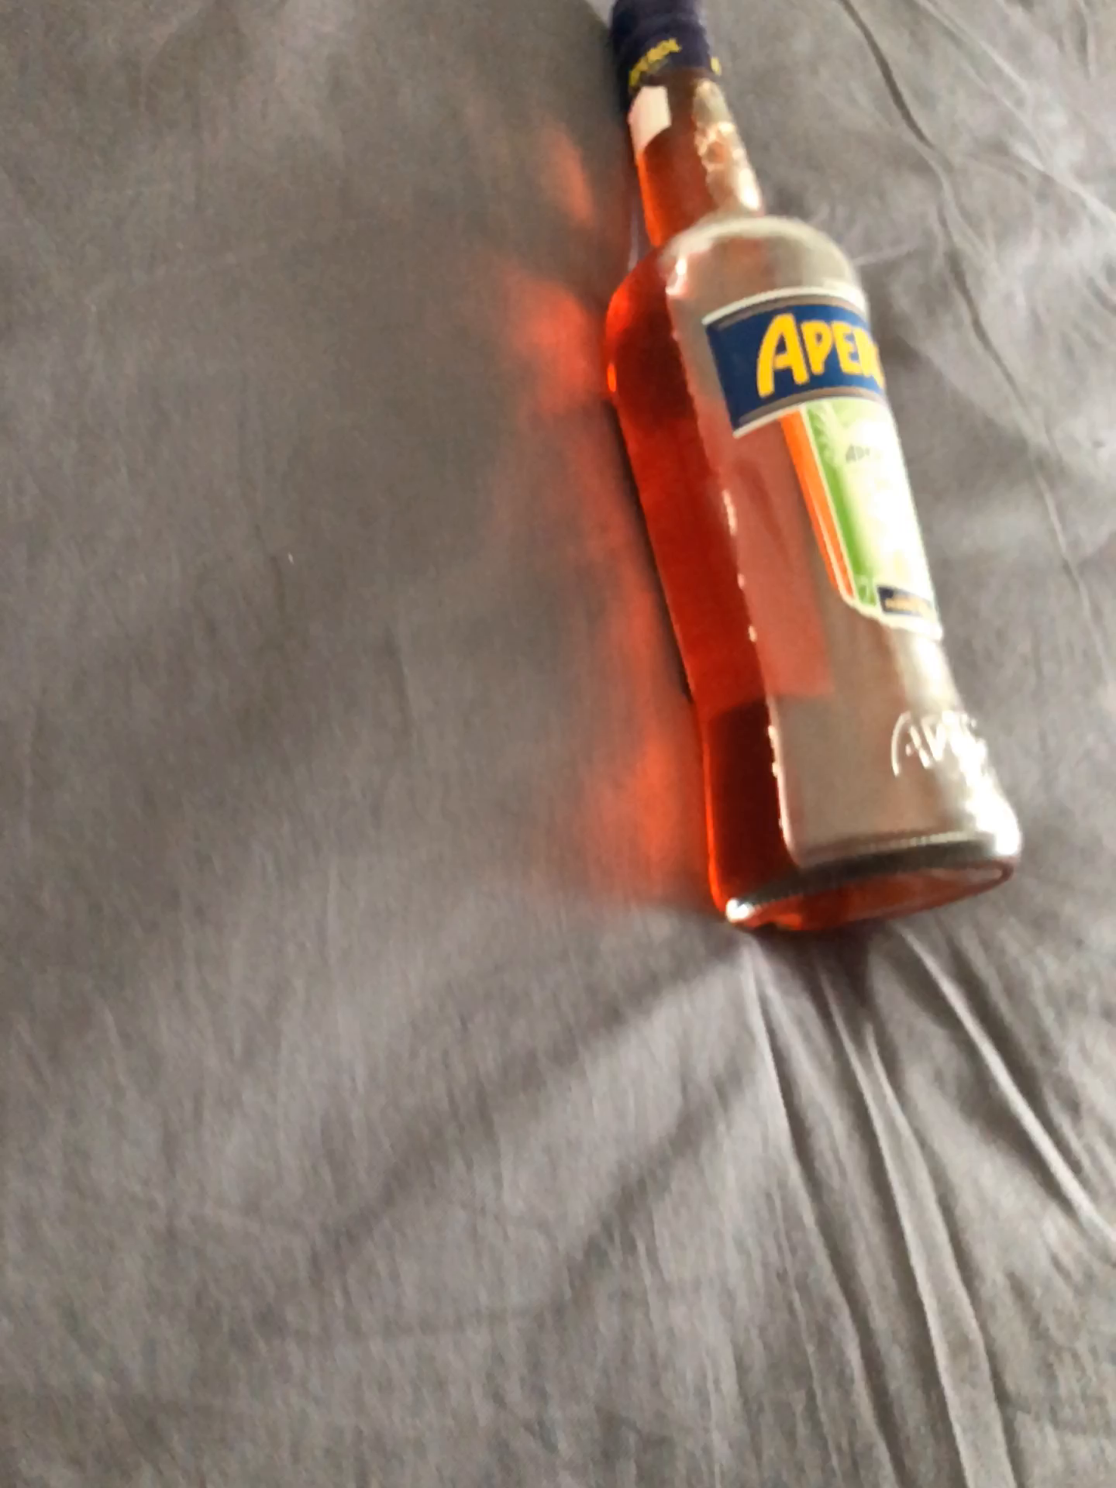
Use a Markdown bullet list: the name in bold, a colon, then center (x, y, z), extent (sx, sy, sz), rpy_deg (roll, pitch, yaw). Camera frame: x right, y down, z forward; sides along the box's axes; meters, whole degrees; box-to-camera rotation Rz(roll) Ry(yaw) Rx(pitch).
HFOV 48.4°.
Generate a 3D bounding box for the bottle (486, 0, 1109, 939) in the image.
- **bottle**: center (0.058, -0.109, 0.366), extent (0.101, 0.070, 0.320), rpy_deg (6, 67, -35)
